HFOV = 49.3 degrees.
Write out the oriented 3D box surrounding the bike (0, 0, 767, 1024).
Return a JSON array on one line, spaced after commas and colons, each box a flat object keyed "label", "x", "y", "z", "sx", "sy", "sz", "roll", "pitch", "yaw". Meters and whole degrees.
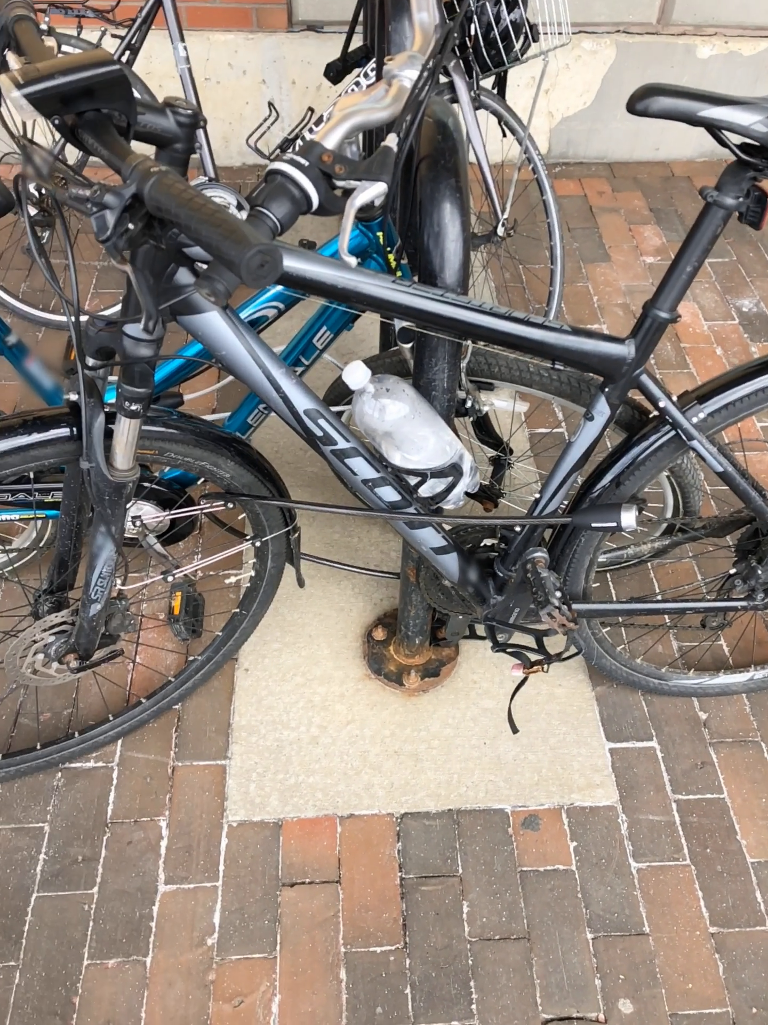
[{"label": "bike", "x": 0.042, "y": -0.022, "z": 1.014, "sx": 1.509, "sy": 0.940, "sz": 0.676, "roll": -9, "pitch": 50, "yaw": -6}]
